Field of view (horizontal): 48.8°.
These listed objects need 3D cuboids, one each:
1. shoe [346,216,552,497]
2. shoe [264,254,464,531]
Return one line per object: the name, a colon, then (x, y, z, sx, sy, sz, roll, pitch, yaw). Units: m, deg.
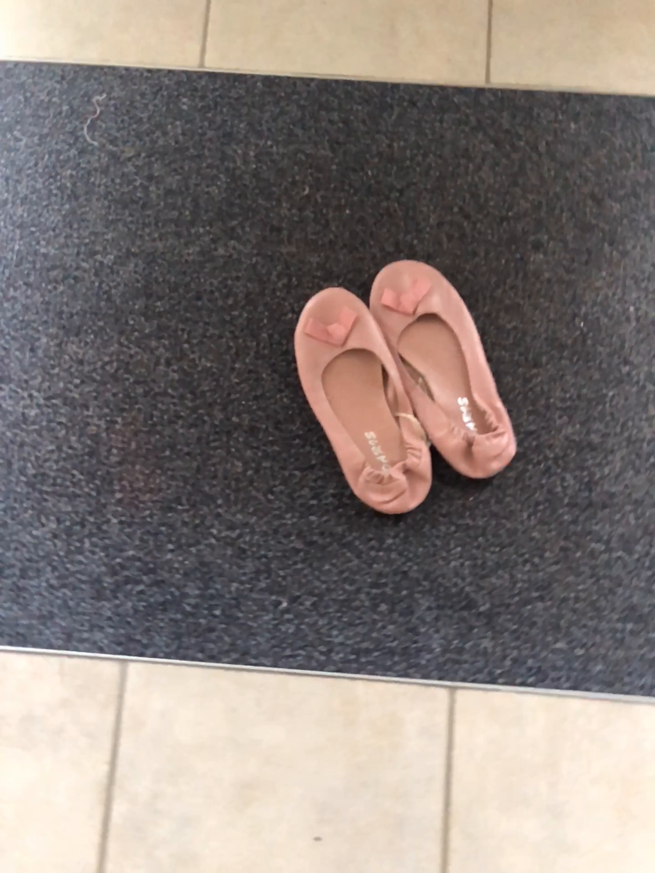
shoe: (0.106, -0.071, 0.684, 0.090, 0.100, 0.230, -24, 80, -3)
shoe: (0.031, -0.037, 0.686, 0.090, 0.100, 0.230, -24, 80, -3)
